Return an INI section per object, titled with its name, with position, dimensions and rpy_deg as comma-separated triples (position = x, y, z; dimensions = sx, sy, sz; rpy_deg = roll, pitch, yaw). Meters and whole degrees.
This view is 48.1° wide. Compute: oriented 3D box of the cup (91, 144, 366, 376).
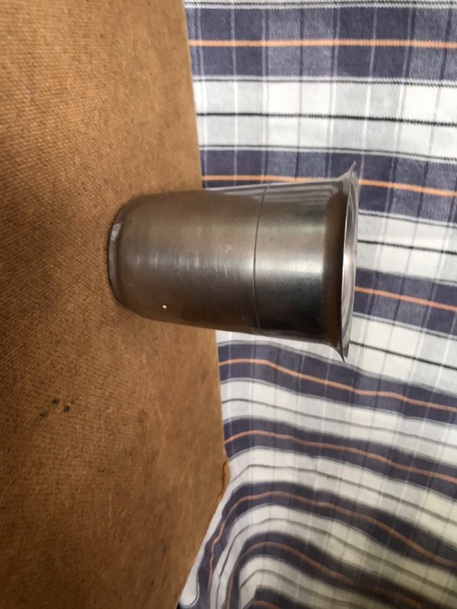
[cup]
position = 0.007, -0.016, 0.227
dimensions = 0.080, 0.100, 0.080
rpy_deg = 3, 90, -75
